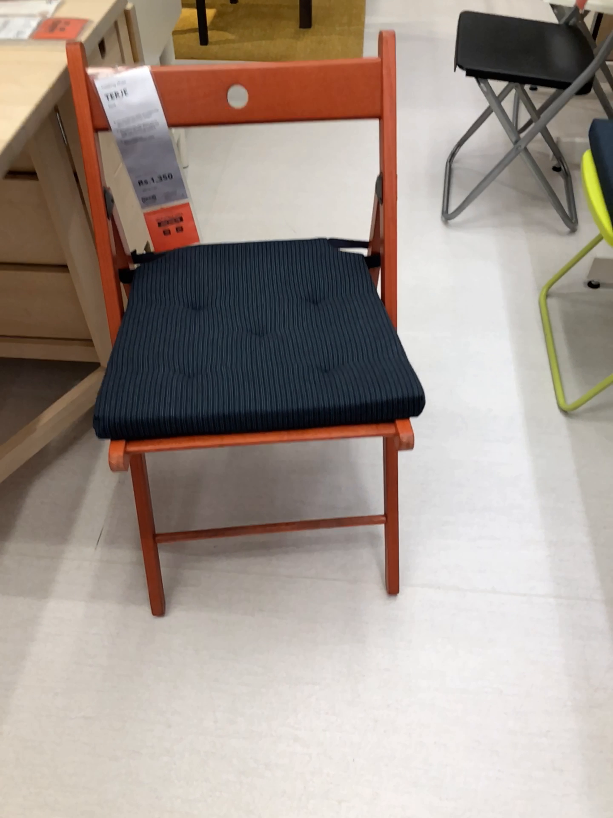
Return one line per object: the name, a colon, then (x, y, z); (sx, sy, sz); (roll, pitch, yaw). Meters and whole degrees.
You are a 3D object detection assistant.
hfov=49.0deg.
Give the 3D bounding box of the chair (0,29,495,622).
chair: (-0.084, -0.087, 1.021); (0.470, 0.716, 0.503); (-3, 49, -3)
